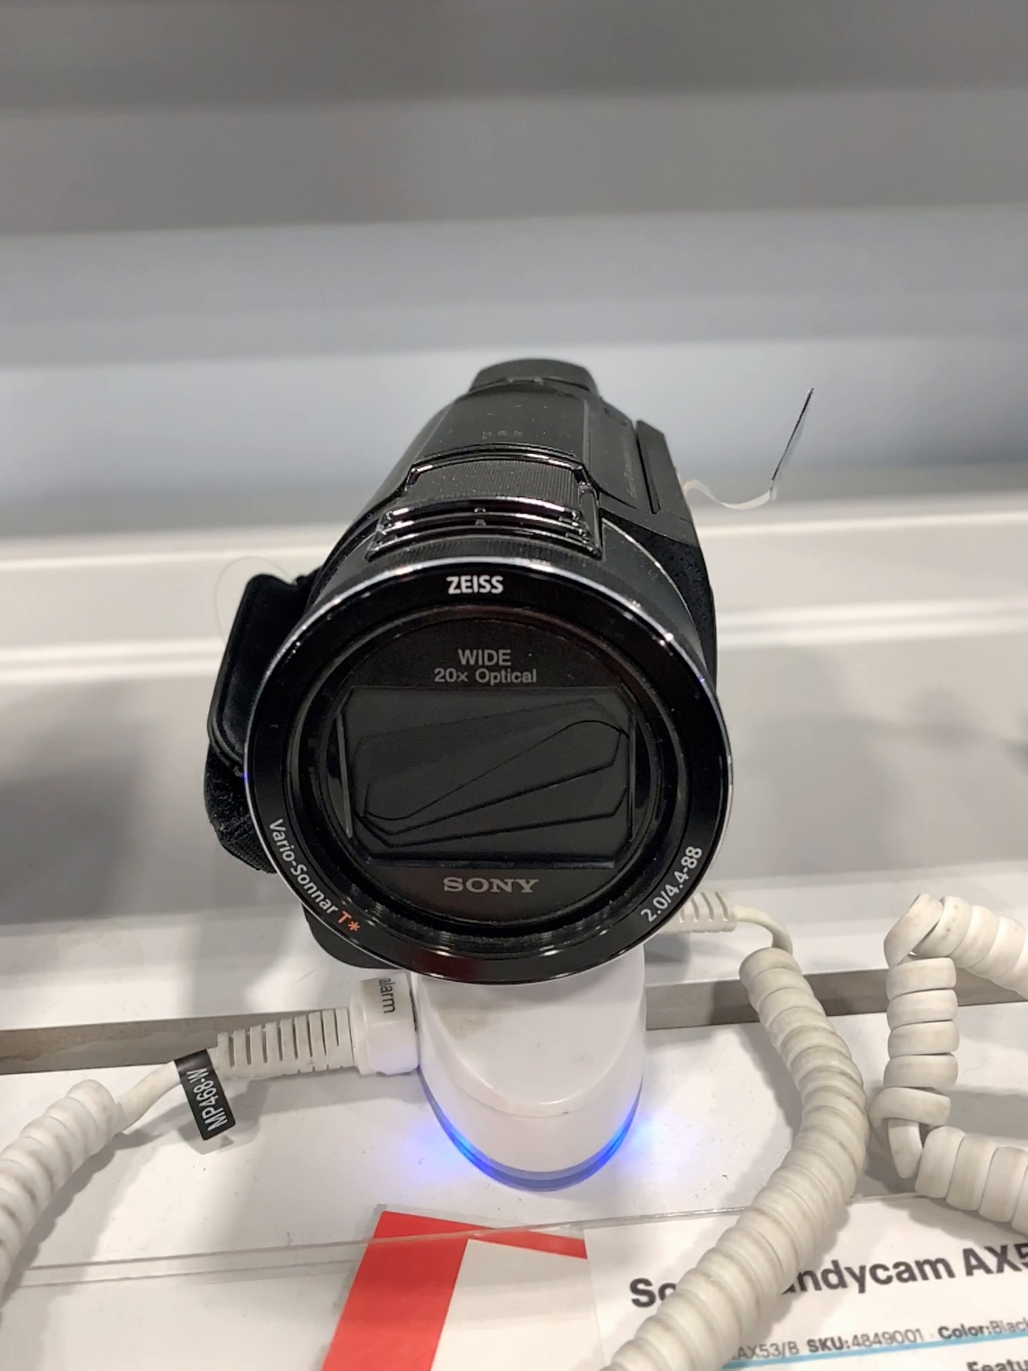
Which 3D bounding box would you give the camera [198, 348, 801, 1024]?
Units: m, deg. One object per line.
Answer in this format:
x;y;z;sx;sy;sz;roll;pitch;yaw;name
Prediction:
0.003;-0.017;0.208;0.070;0.071;0.151;1;25;4;camera
